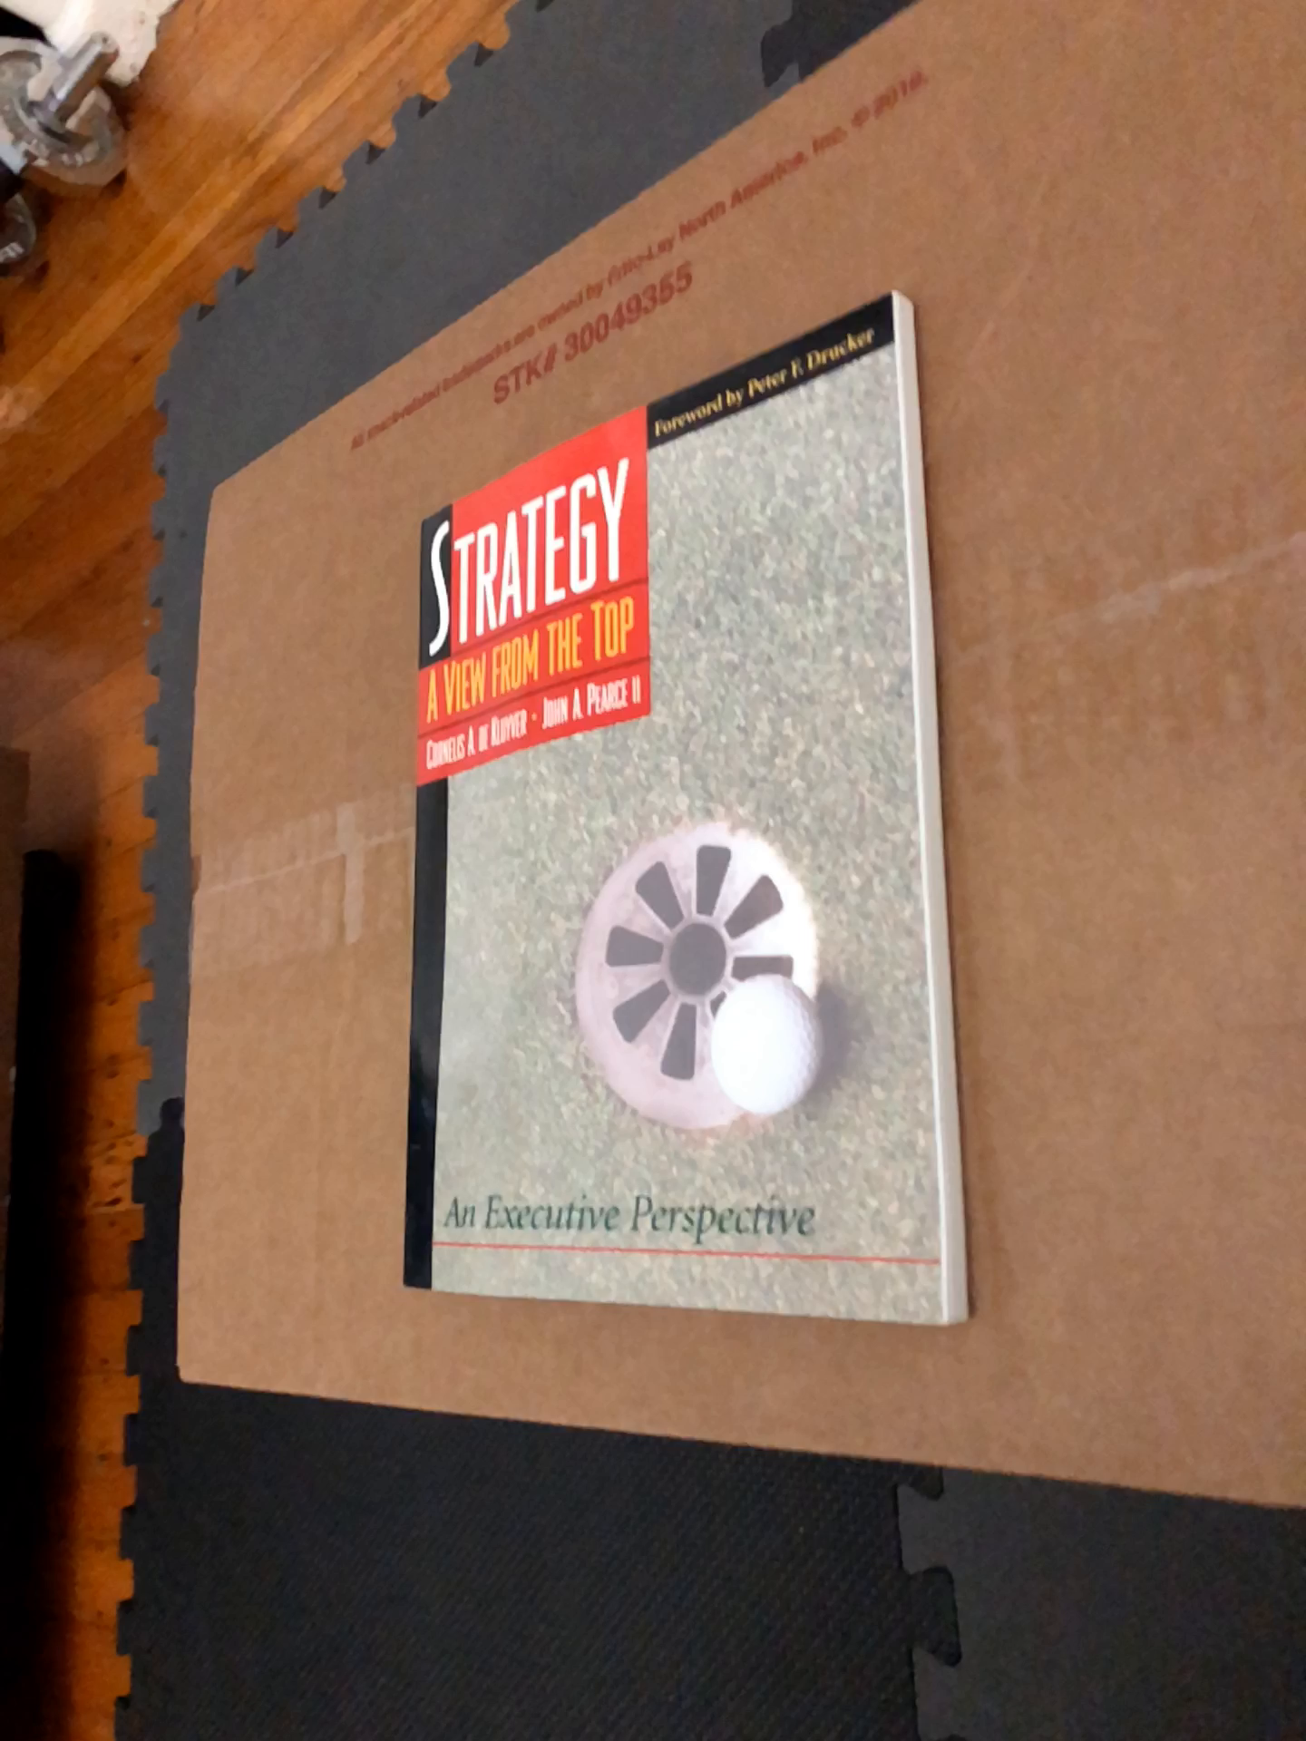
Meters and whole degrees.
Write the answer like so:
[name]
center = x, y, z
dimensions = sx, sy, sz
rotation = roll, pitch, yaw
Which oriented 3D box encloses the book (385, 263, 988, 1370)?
[book]
center = -0.005, -0.006, 0.372
dimensions = 0.181, 0.020, 0.240
rotation = -12, 74, 43
